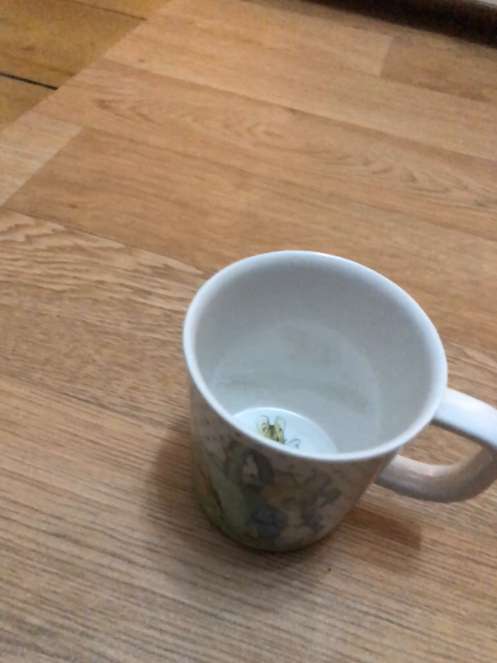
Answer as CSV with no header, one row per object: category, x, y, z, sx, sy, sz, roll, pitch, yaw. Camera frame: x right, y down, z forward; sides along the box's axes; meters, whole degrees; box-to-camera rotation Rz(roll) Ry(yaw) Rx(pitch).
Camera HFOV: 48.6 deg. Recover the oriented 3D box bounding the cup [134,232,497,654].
cup,0.031,0.037,0.190,0.110,0.080,0.080,20,49,9
